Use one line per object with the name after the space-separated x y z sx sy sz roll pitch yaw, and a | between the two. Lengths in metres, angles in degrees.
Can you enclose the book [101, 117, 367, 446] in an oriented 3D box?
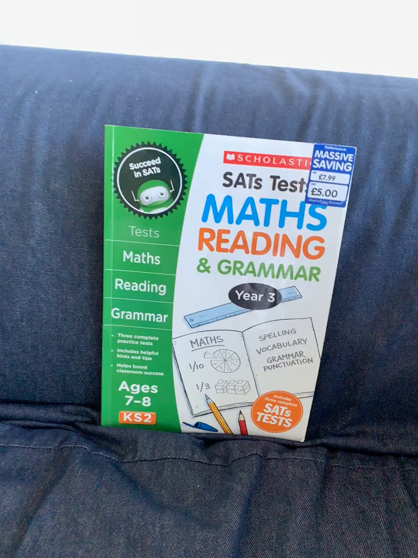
0.009 0.017 0.392 0.209 0.293 0.022 4 19 -1 | book
